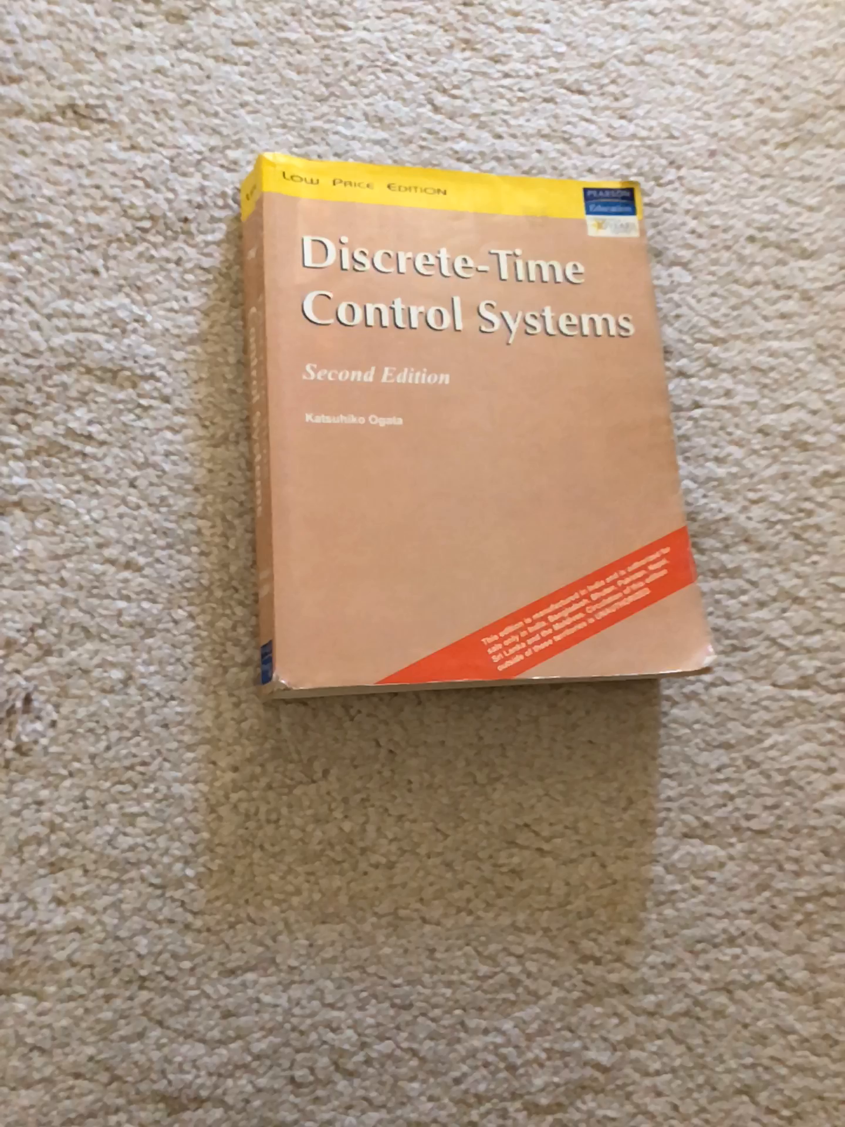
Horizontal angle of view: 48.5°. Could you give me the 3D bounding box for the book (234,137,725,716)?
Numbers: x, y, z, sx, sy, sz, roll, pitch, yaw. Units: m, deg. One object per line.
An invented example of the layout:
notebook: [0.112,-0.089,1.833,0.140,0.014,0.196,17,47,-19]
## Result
book: [0.019,-0.062,0.403,0.186,0.035,0.238,-1,75,-14]
